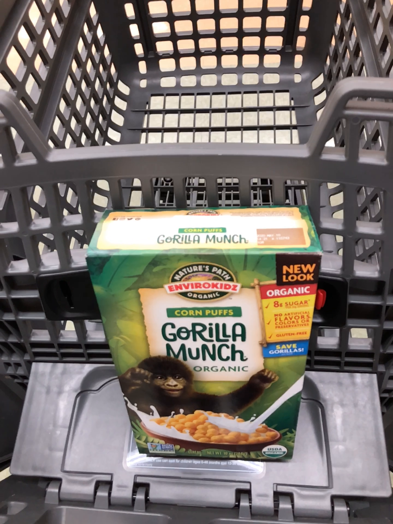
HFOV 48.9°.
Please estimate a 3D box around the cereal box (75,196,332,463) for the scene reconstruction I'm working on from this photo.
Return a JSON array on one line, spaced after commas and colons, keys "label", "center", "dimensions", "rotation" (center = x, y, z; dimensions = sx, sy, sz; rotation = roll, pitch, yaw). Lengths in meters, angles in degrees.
[{"label": "cereal box", "center": [0.012, 0.075, 0.378], "dimensions": [0.160, 0.260, 0.070], "rotation": [0, 39, 6]}]
